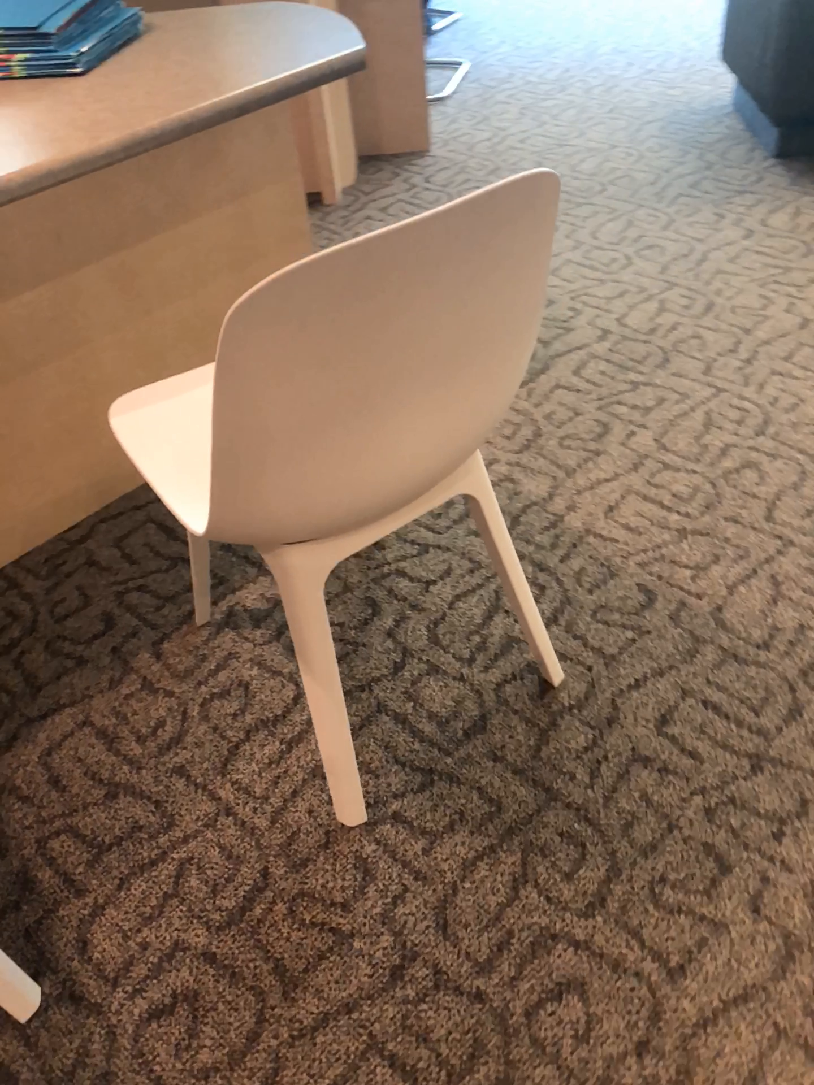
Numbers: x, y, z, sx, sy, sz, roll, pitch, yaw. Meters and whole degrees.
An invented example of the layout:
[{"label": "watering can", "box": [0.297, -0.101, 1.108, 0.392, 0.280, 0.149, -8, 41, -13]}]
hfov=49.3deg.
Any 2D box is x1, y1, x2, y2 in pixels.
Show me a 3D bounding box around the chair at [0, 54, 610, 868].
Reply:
[{"label": "chair", "box": [-0.129, -0.107, 1.181, 0.481, 0.794, 0.553, -29, 47, -22]}]
